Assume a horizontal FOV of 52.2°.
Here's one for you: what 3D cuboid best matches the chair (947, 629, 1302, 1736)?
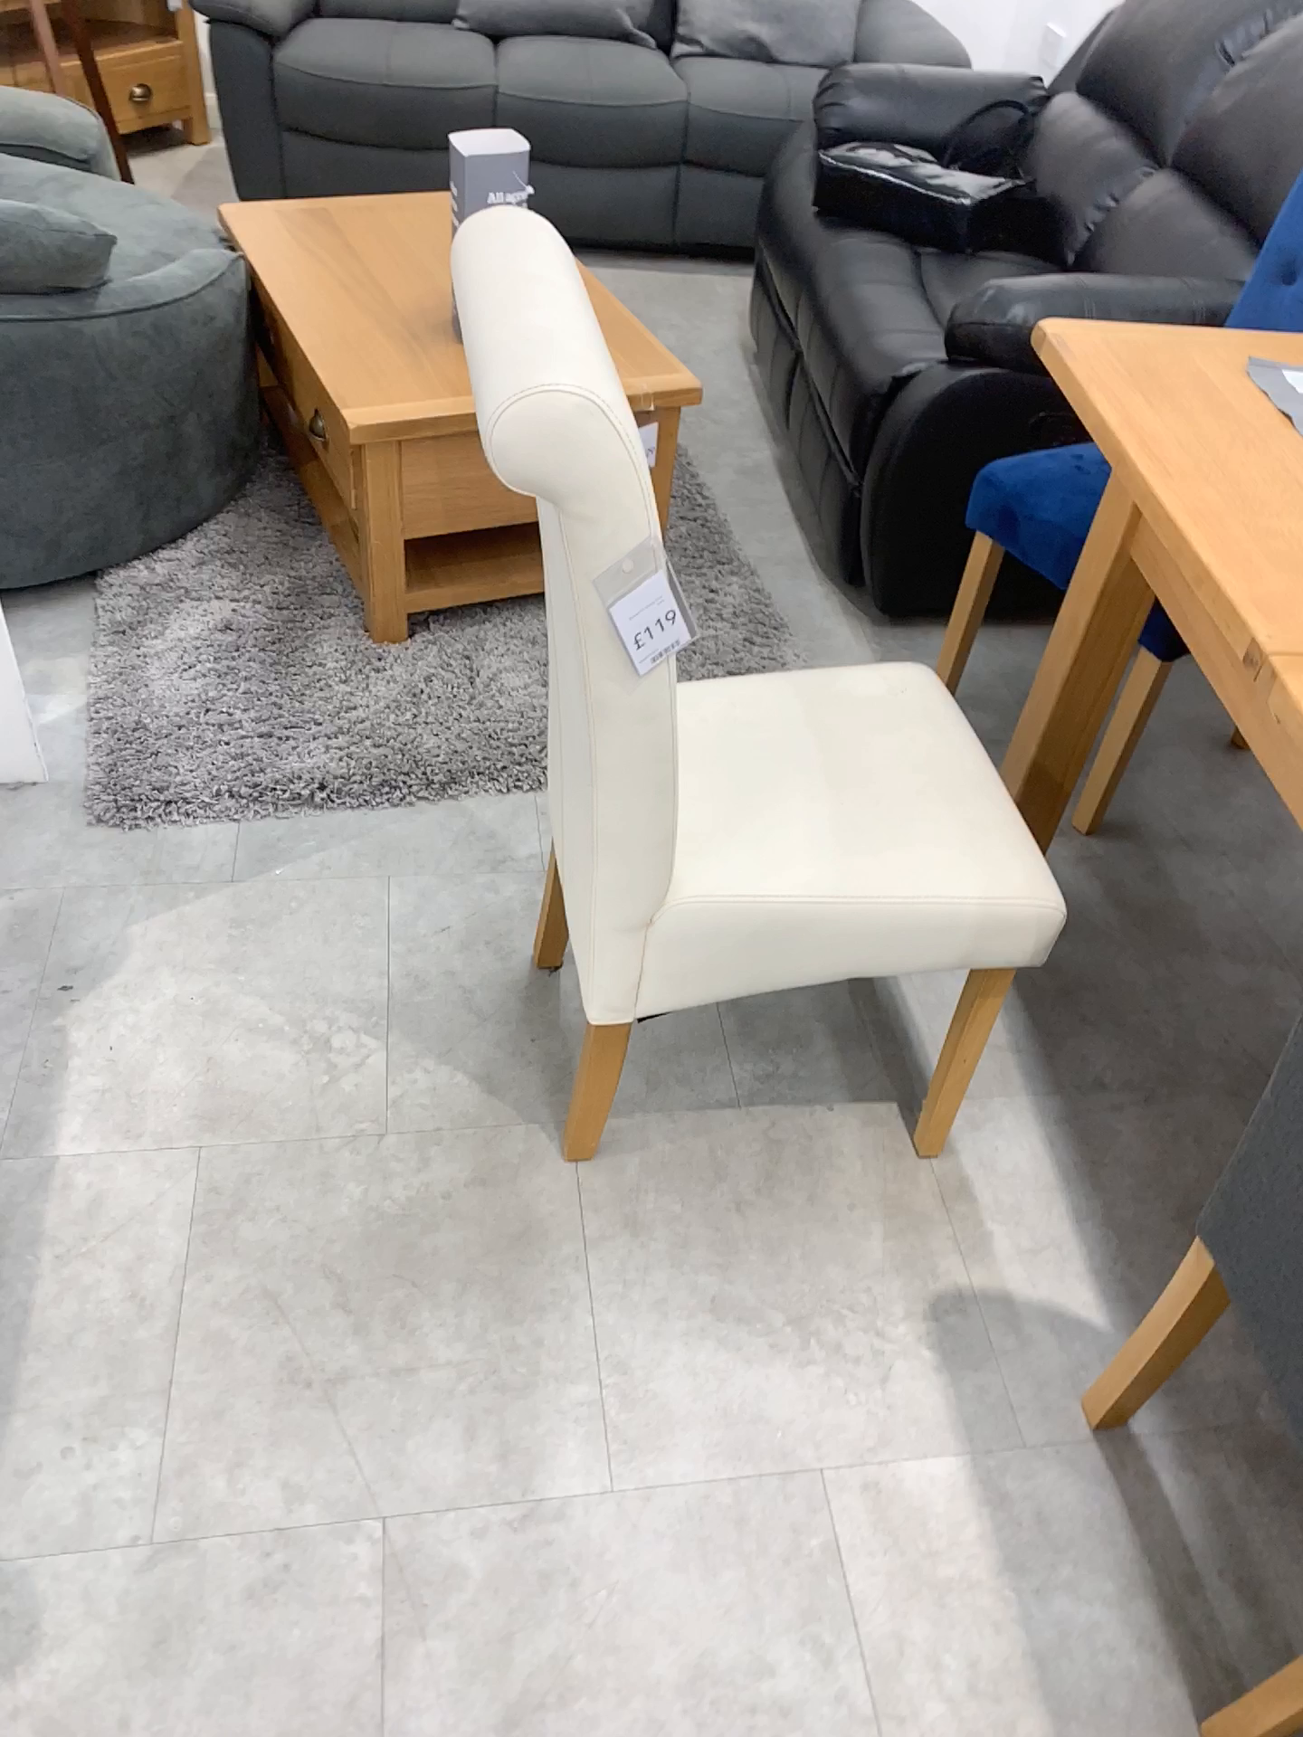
[{"bbox_3d":[0.687,0.336,1.034,0.581,0.905,0.488,-1,44,-9],"label":"chair"}]

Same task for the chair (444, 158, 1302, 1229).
[{"bbox_3d":[0.107,-0.136,1.383,0.591,0.935,0.518,-3,45,-11],"label":"chair"}]
